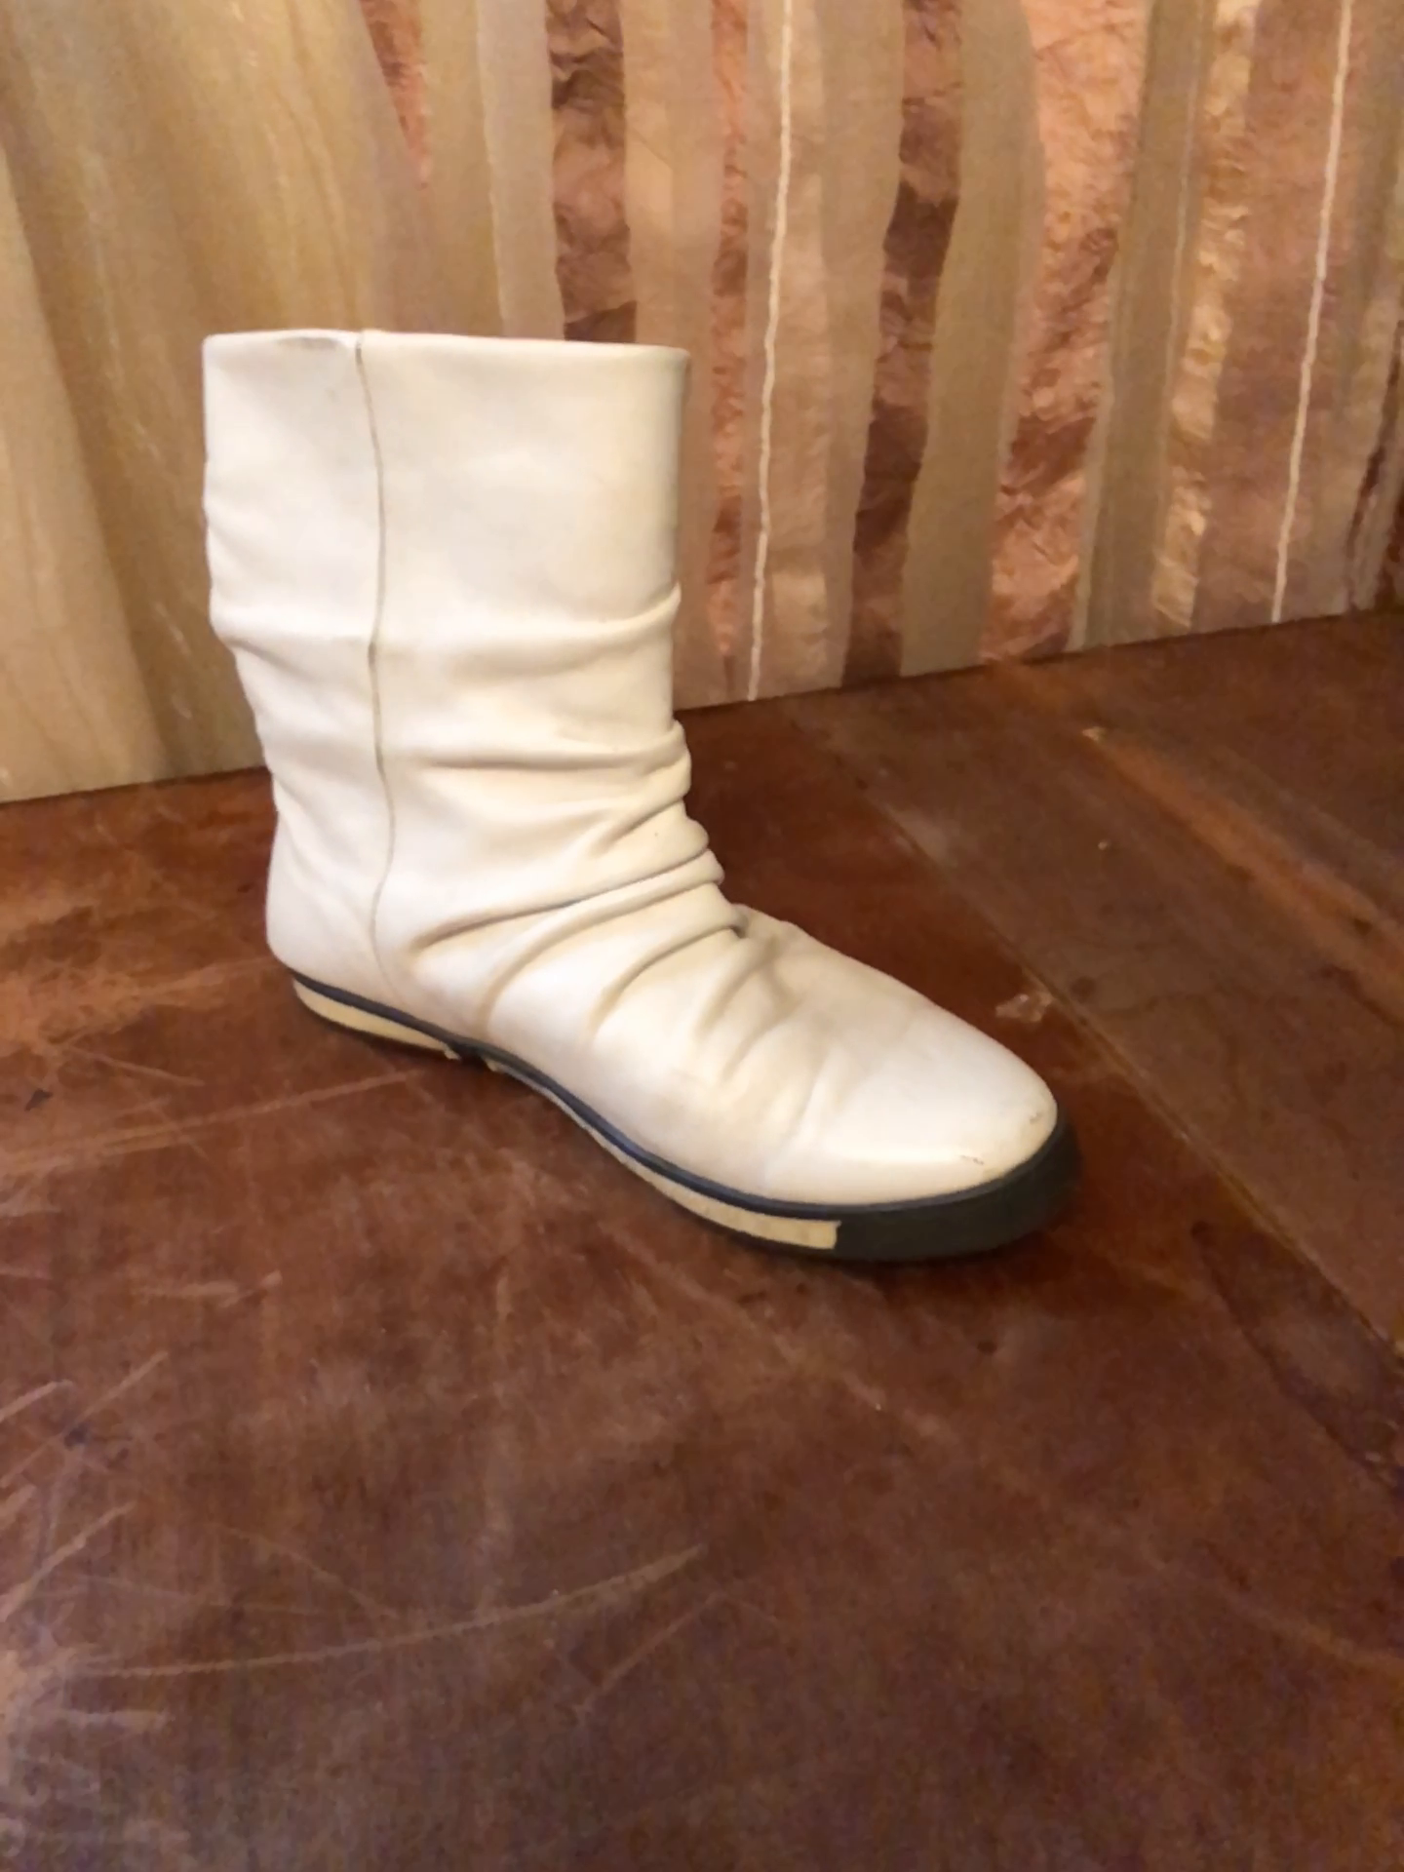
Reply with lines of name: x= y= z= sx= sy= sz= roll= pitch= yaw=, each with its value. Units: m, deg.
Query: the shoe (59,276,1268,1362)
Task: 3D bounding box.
shoe: x=-0.020 y=-0.048 z=0.358 sx=0.241 sy=0.169 sz=0.100 roll=21 pitch=36 yaw=35
